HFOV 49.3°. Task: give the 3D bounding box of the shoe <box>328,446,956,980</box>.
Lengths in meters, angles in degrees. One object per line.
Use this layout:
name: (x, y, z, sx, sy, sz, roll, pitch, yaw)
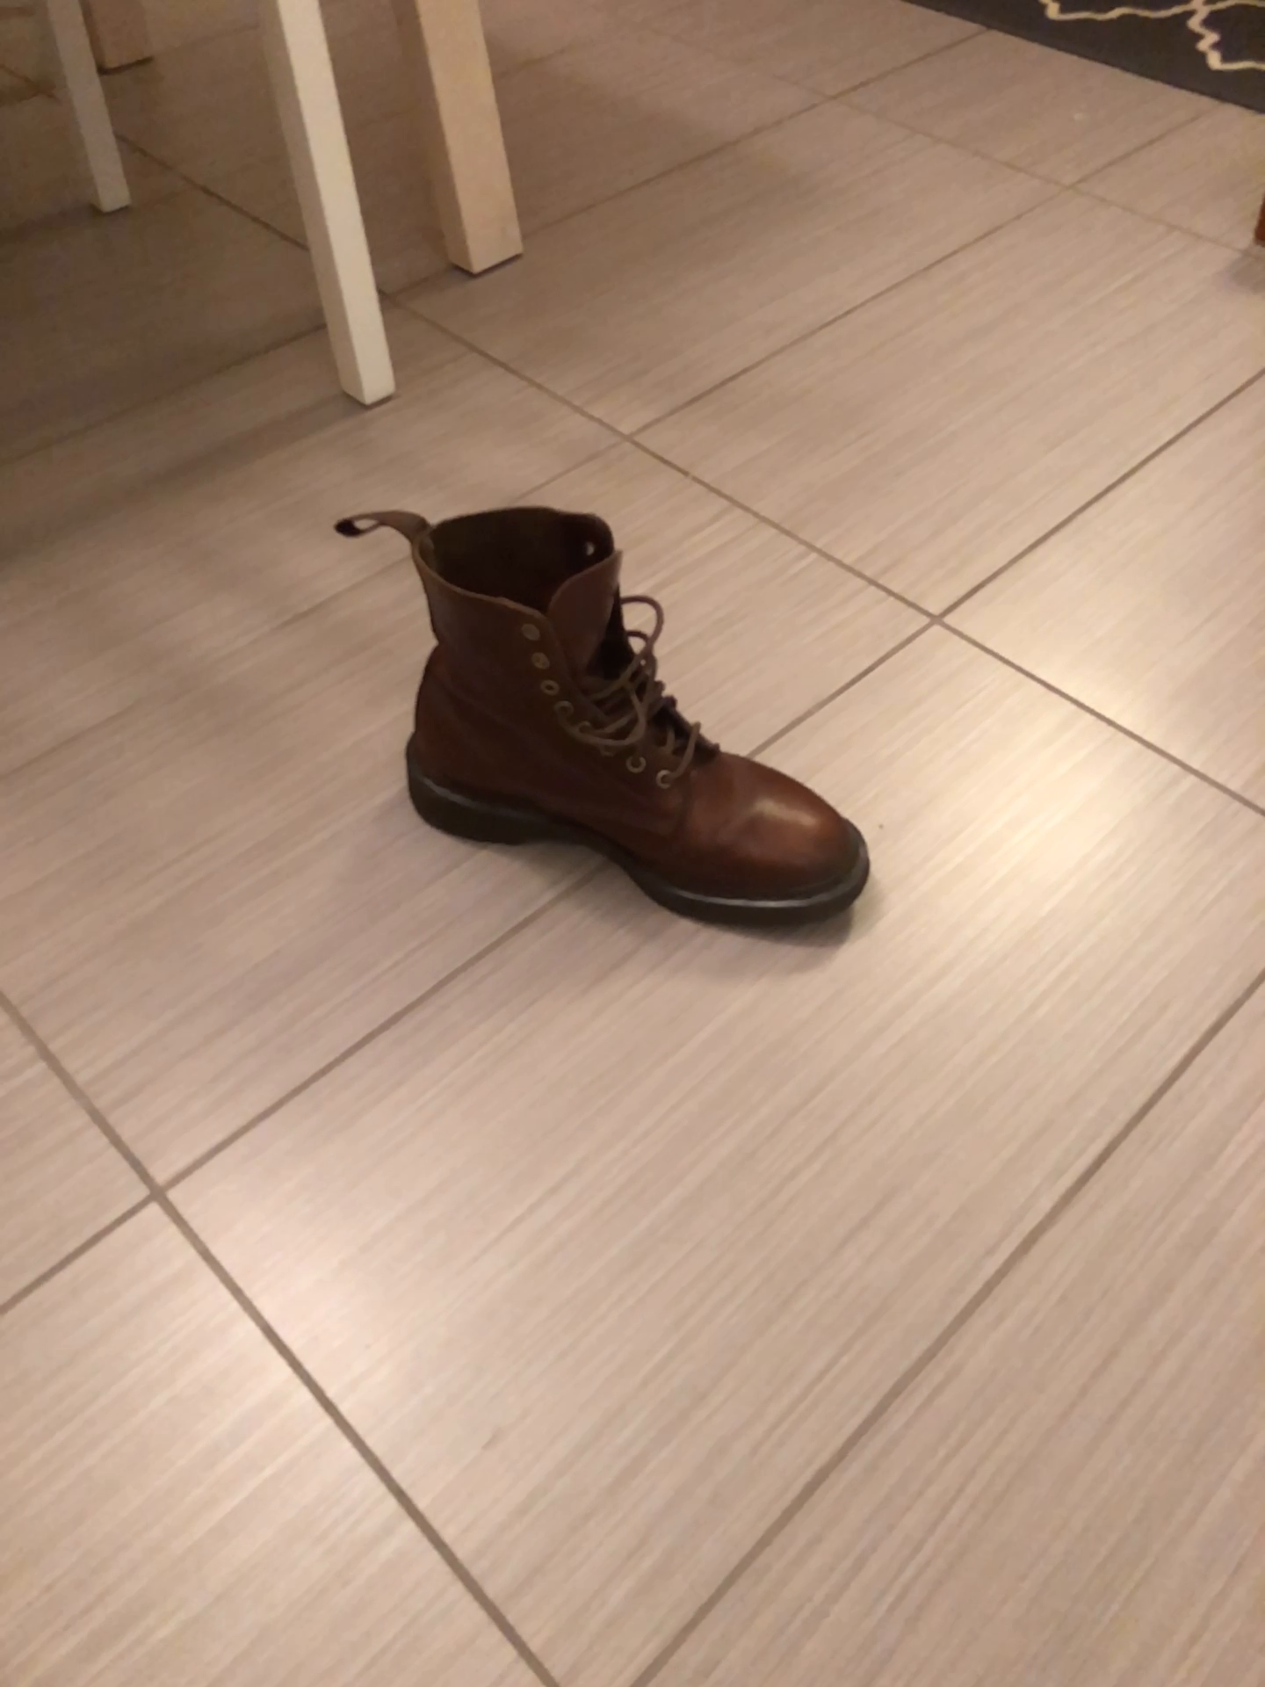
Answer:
shoe: (0.004, -0.071, 0.735, 0.282, 0.180, 0.116, 19, 52, 17)
